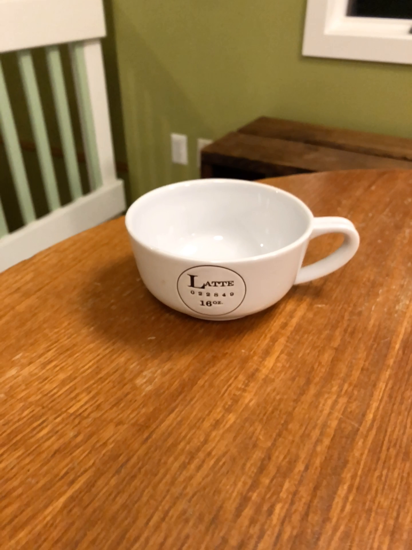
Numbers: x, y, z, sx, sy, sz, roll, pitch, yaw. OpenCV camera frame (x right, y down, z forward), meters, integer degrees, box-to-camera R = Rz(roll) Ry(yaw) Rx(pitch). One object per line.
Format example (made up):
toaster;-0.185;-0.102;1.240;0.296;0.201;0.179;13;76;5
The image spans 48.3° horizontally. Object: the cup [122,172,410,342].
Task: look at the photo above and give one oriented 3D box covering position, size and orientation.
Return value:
cup;0.031;-0.023;0.352;0.179;0.055;0.139;-4;33;-6
